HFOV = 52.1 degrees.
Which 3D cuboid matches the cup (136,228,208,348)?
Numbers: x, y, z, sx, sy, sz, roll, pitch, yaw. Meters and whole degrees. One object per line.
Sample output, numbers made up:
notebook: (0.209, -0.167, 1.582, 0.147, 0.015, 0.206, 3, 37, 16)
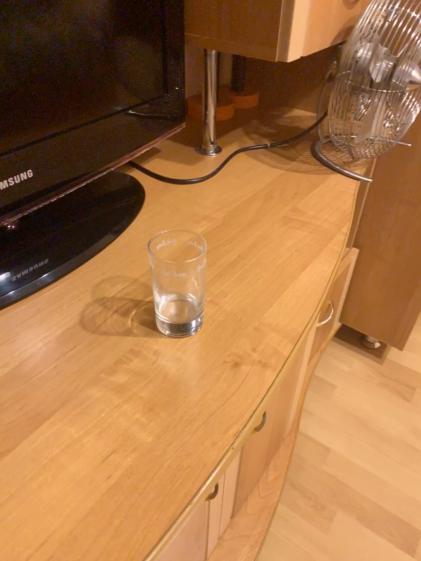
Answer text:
cup: (-0.035, 0.008, 0.417, 0.060, 0.099, 0.061, 1, 39, -1)
